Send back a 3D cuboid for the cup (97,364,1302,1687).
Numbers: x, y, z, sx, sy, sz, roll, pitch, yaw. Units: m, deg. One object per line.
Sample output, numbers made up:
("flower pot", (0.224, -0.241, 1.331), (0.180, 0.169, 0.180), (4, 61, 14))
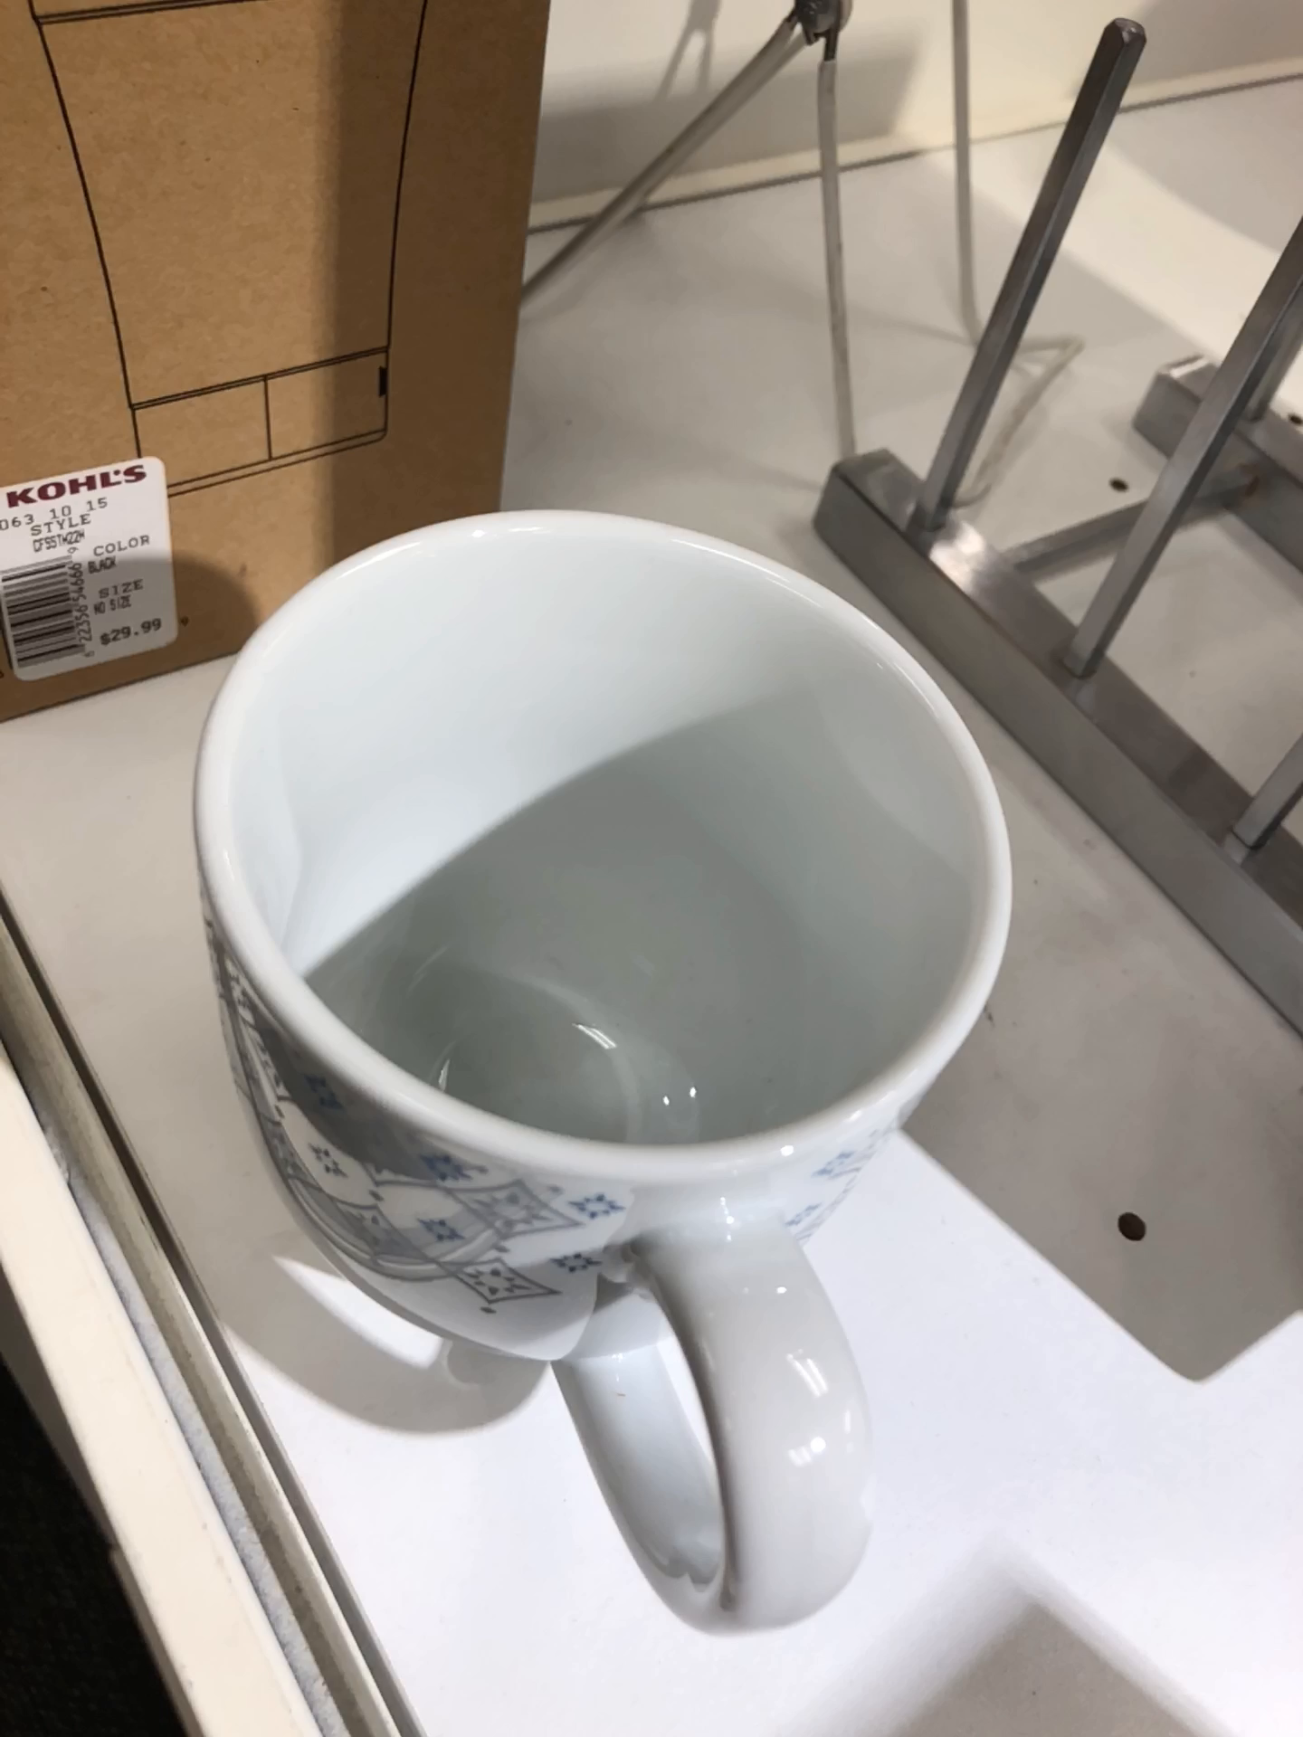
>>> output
("cup", (-0.008, 0.016, 0.208), (0.099, 0.099, 0.136), (-13, 55, -18))
